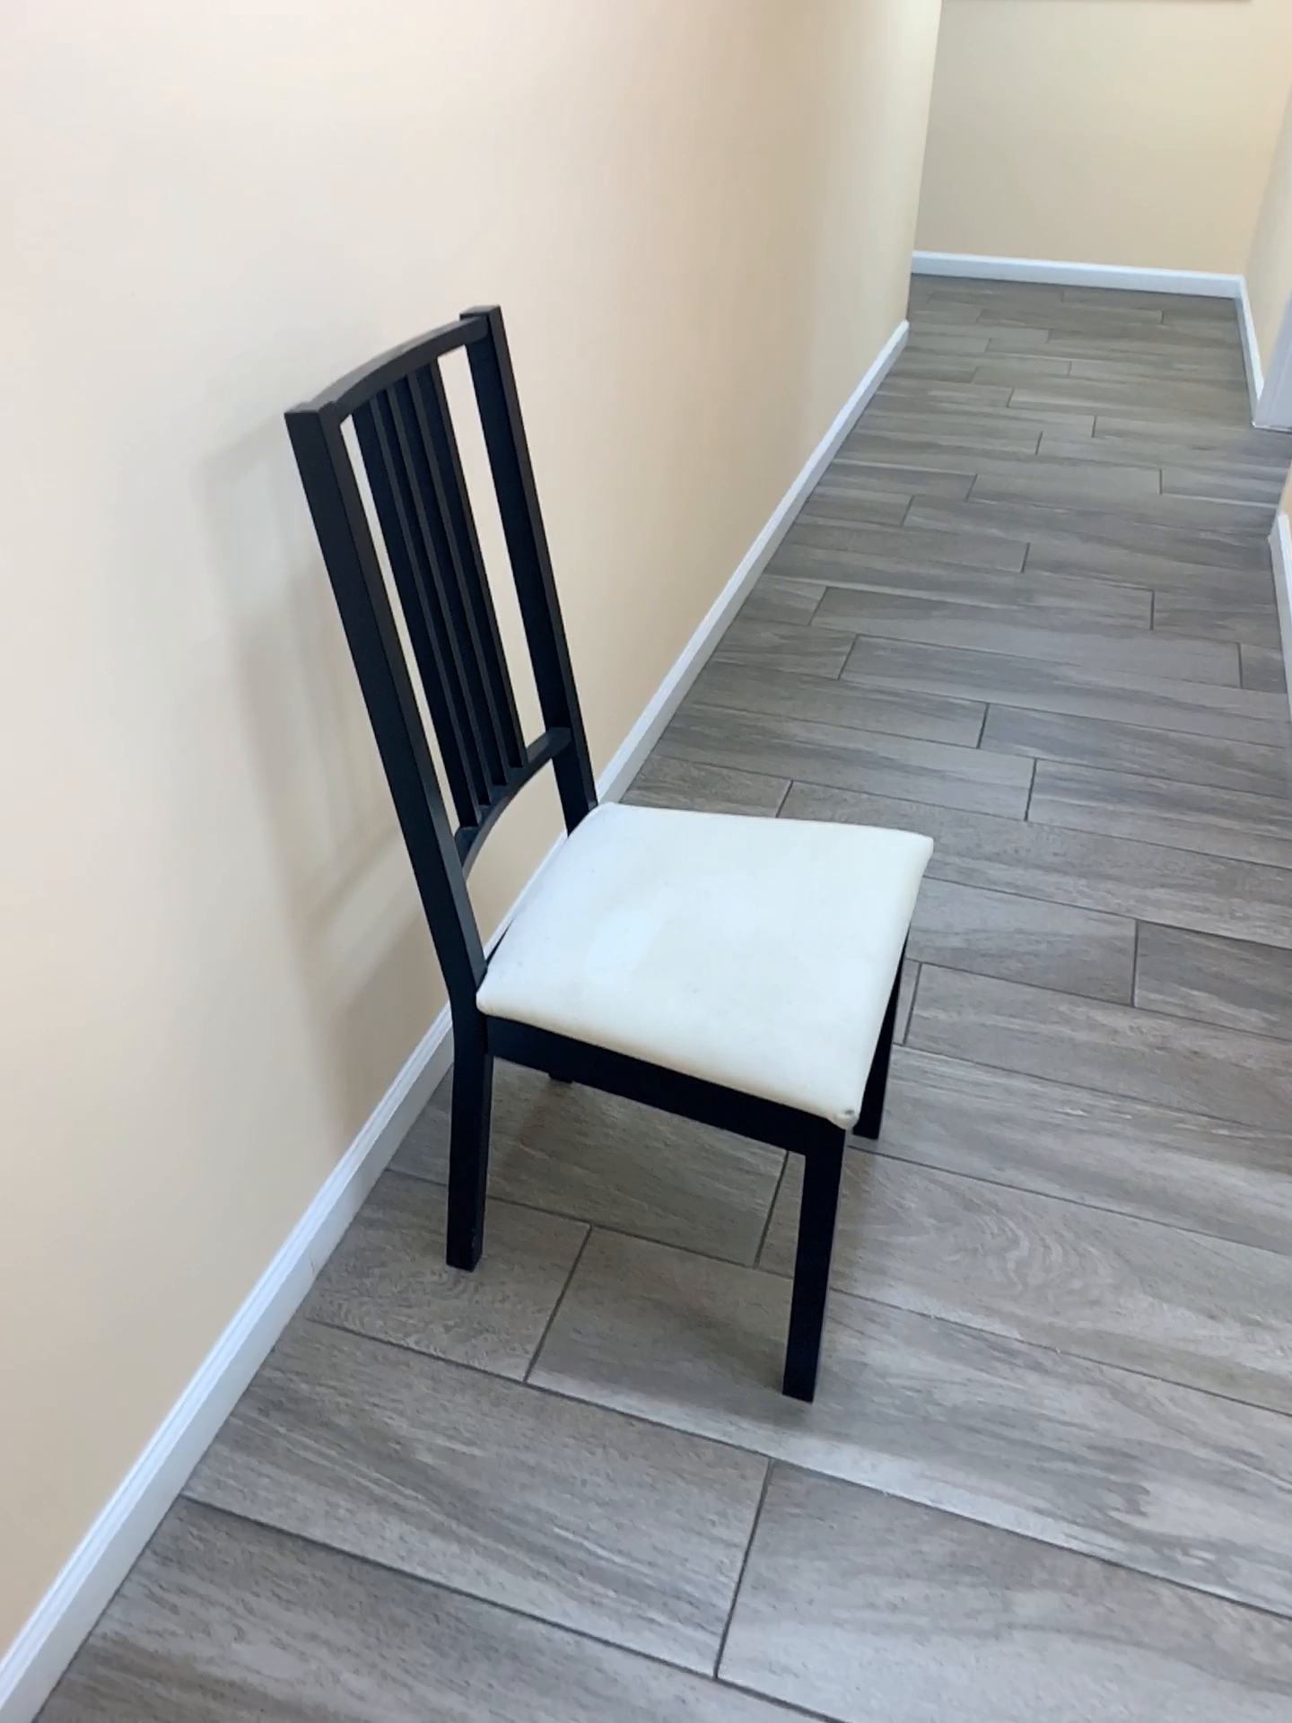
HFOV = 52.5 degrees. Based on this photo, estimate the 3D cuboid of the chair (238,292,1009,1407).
[{"bbox_3d":[0.012,0.007,1.316,0.497,0.962,0.441,11,37,14],"label":"chair"}]
